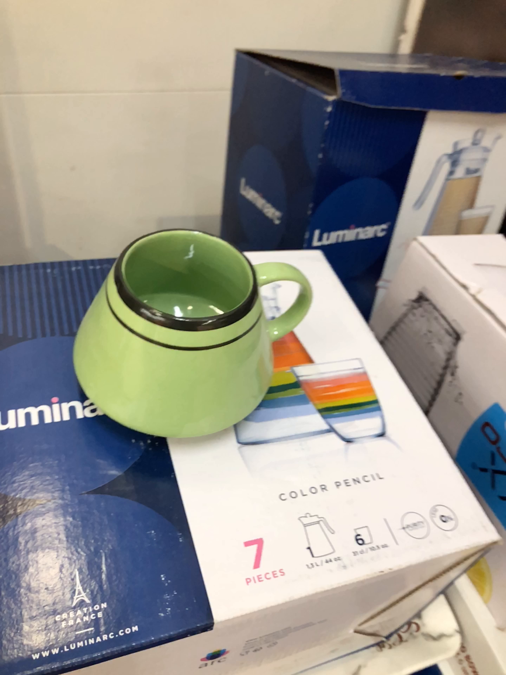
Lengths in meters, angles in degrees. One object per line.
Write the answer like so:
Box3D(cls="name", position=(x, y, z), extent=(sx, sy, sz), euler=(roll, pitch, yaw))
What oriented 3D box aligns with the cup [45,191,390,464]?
Box3D(cls="cup", position=(-0.026, -0.014, 0.293), extent=(0.140, 0.070, 0.111), euler=(-8, 43, -18))
